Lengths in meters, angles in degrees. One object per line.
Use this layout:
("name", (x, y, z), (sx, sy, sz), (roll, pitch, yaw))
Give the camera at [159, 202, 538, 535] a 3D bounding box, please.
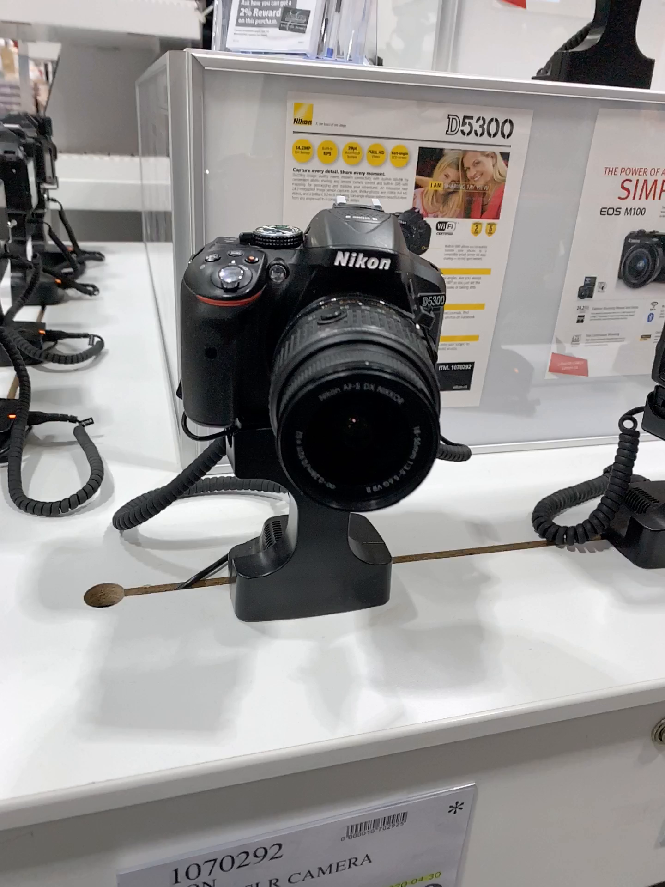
("camera", (-0.002, -0.043, 0.304), (0.120, 0.099, 0.151), (1, 25, -5))
